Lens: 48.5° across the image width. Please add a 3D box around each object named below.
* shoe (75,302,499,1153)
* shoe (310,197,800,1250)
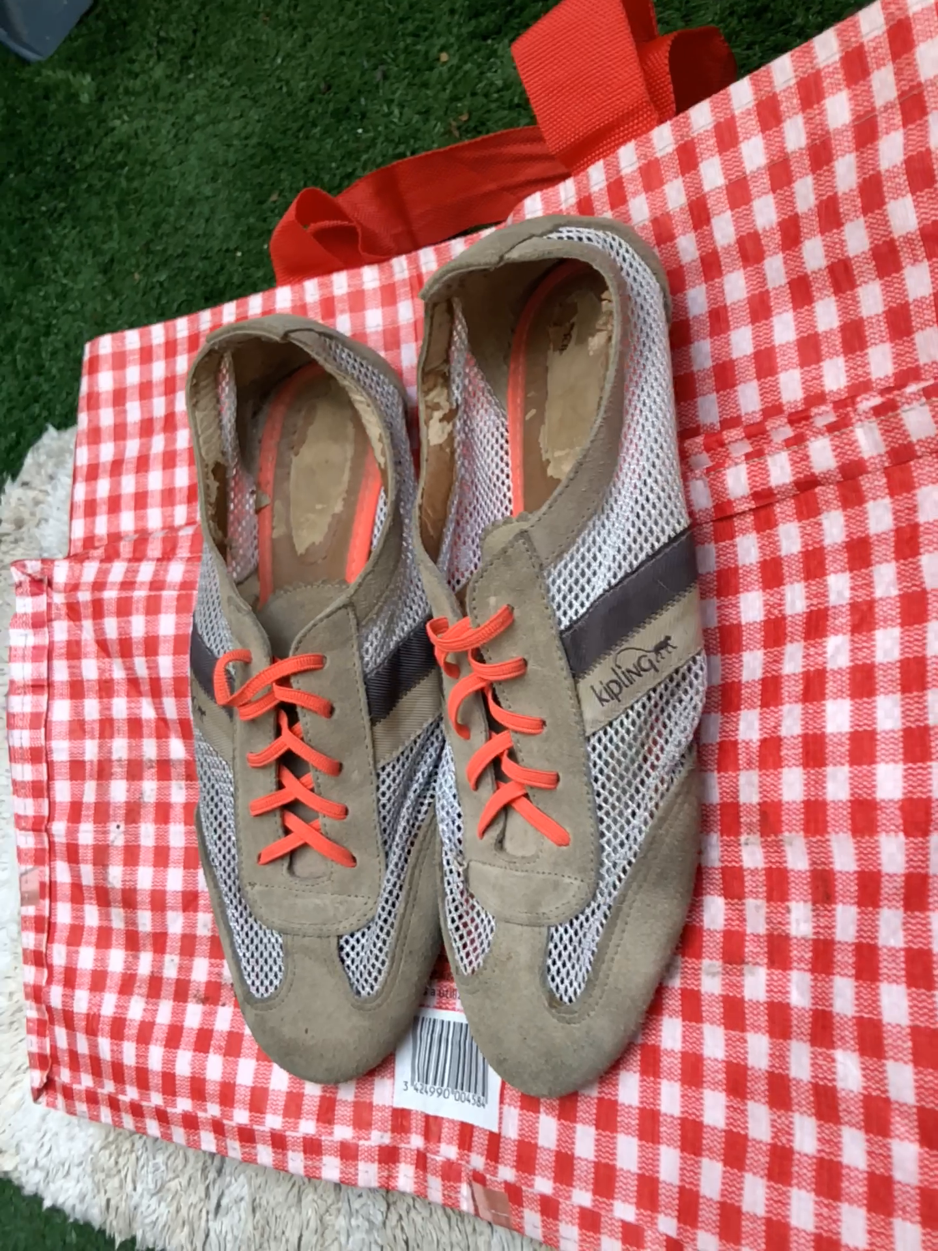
[{"bbox_3d":[-0.057,0.032,0.332,0.100,0.050,0.240,-7,87,17],"label":"shoe"},{"bbox_3d":[0.017,0.023,0.280,0.100,0.050,0.230,-8,88,50],"label":"shoe"}]
